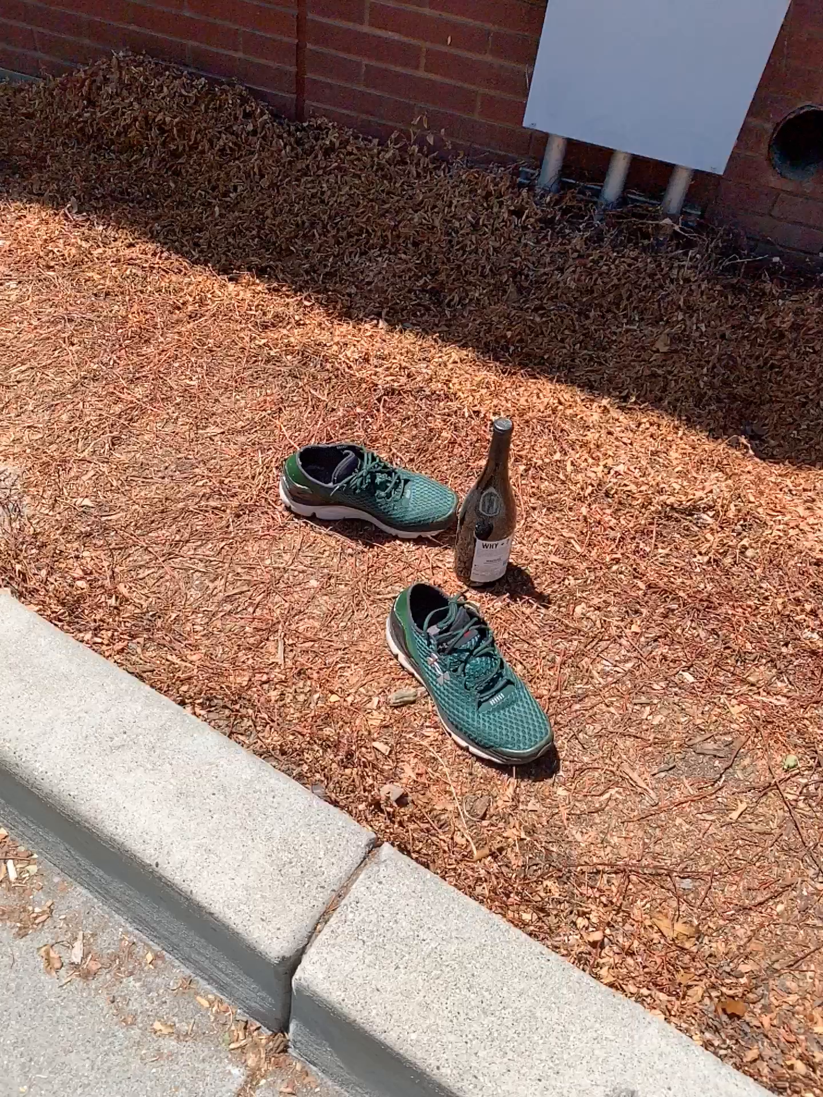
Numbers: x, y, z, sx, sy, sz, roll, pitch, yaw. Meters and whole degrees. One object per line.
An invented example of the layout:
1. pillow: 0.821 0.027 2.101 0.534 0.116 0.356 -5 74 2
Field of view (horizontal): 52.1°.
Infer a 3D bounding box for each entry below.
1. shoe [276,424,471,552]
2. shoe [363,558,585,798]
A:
1. shoe: -0.061 -0.099 1.360 0.290 0.099 0.121 11 48 1
2. shoe: 0.072 0.163 1.114 0.120 0.099 0.291 -26 57 -29
